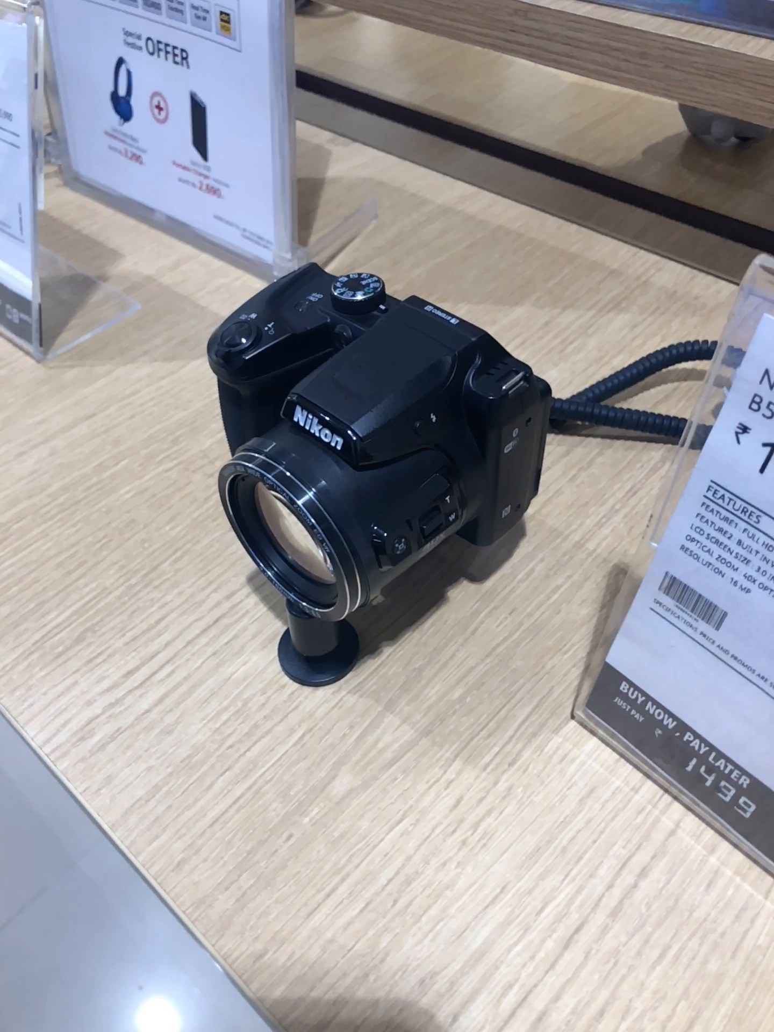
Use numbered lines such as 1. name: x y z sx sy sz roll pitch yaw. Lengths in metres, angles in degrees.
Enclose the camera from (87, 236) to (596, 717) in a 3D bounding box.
1. camera: -0.014 -0.020 0.275 0.120 0.070 0.090 35 58 30
